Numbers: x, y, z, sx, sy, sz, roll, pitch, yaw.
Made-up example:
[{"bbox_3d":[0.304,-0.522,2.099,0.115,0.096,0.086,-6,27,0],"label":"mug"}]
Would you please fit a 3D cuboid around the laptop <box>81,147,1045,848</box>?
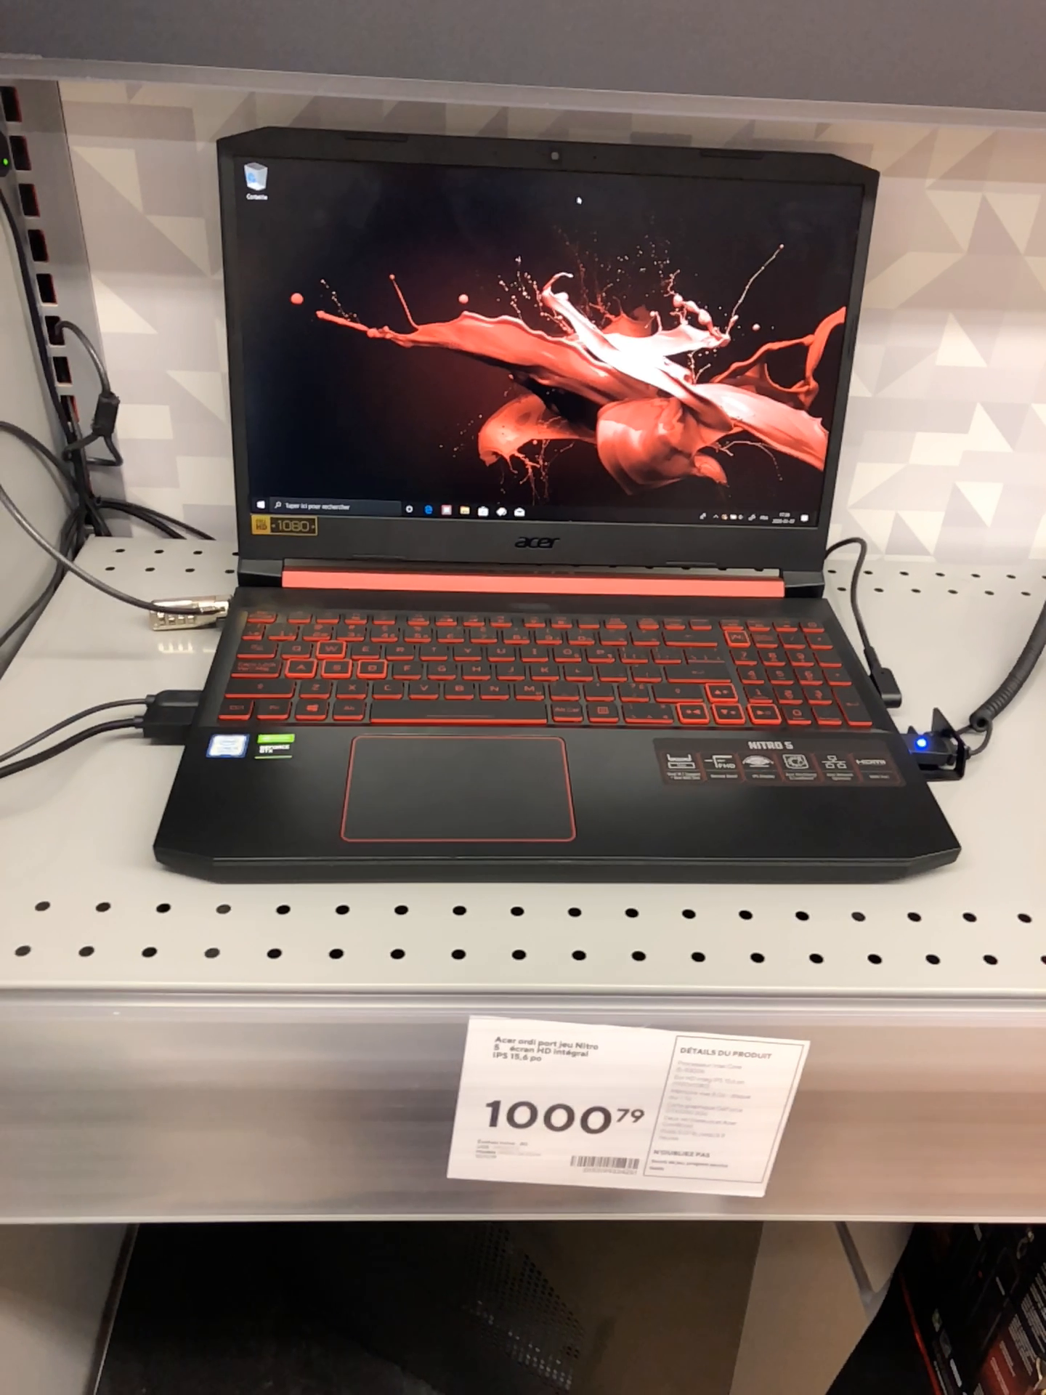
[{"bbox_3d":[0.022,-0.111,0.579,0.361,0.241,0.282,1,35,-5],"label":"laptop"}]
